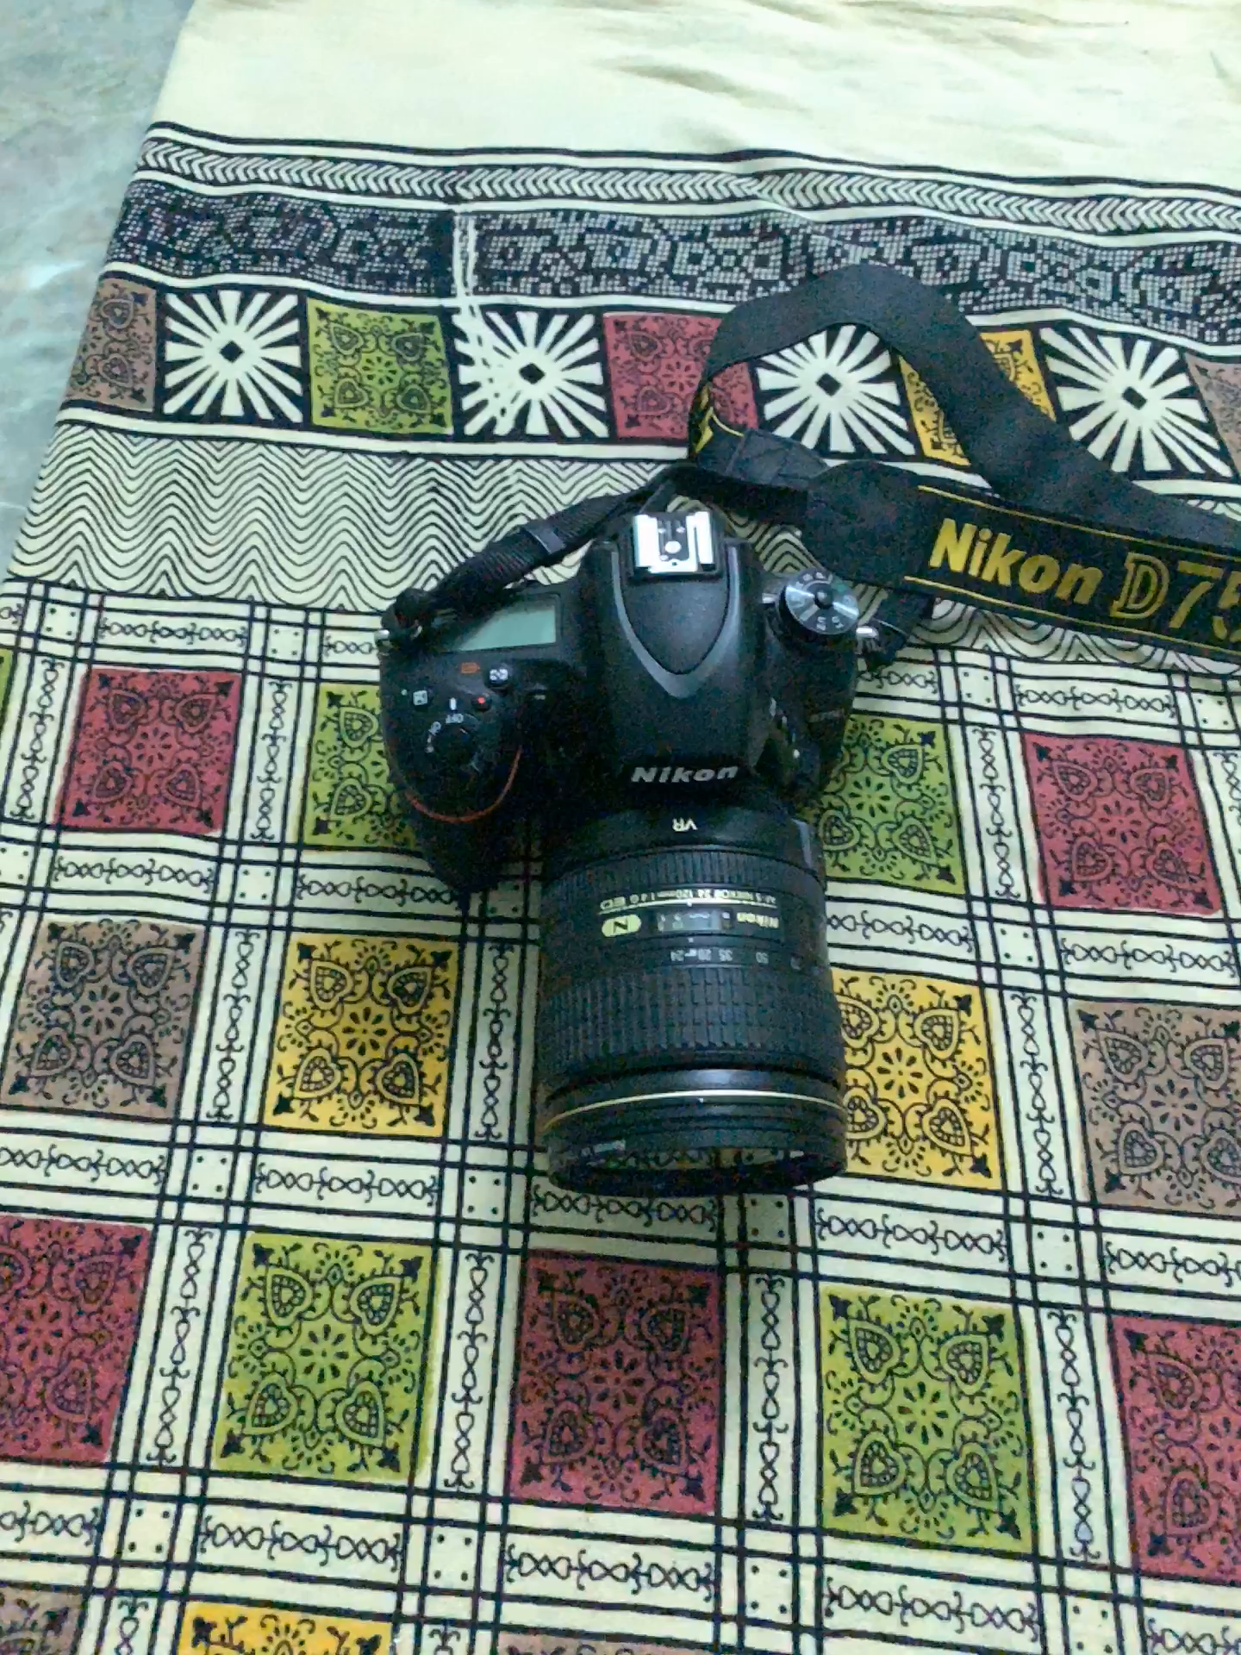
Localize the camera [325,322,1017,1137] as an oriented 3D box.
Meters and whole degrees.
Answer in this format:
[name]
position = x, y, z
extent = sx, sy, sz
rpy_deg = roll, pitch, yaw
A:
[camera]
position = 0.008, -0.025, 0.344
extent = 0.140, 0.100, 0.190
rpy_deg = -2, 64, 0
